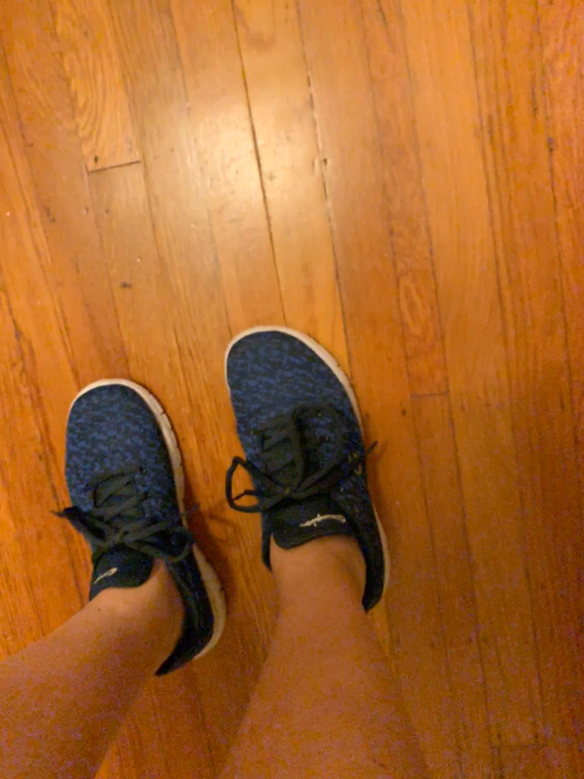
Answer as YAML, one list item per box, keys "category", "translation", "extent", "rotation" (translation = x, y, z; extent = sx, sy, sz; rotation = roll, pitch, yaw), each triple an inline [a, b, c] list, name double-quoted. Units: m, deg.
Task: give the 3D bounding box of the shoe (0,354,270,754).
- category: "shoe"
  translation: [-0.135, 0.133, 0.542]
  extent: [0.115, 0.150, 0.290]
  rotation: [-18, 98, 11]

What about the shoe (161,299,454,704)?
- category: "shoe"
  translation: [0.021, 0.081, 0.501]
  extent: [0.117, 0.130, 0.280]
  rotation: [-21, 97, 11]
